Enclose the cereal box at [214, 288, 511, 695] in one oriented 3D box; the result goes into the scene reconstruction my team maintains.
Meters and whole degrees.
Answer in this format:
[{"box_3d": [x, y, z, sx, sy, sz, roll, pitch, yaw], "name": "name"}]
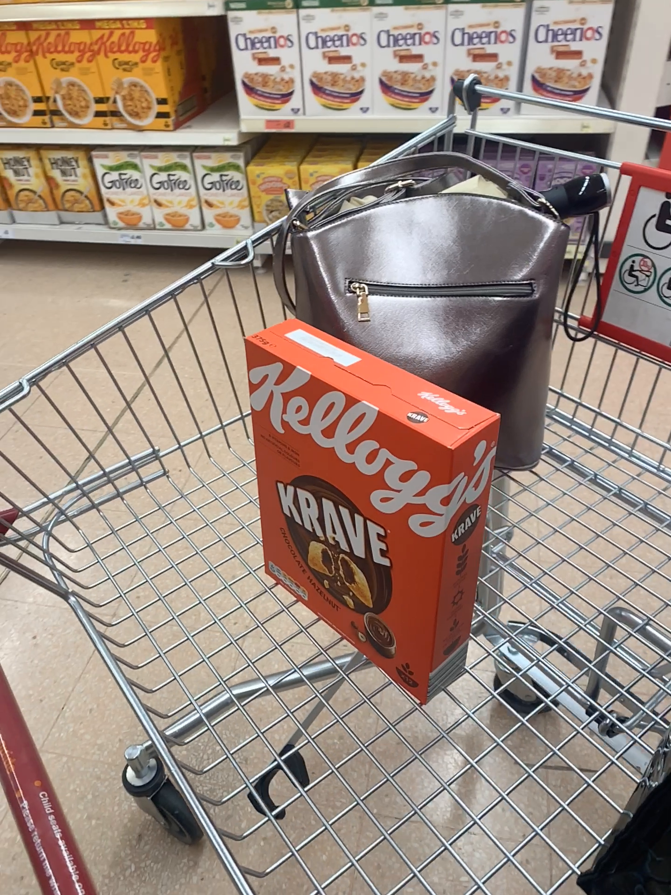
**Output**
[{"box_3d": [0.008, 0.030, 0.497, 0.050, 0.228, 0.211, -30, 46, -34], "name": "cereal box"}]
